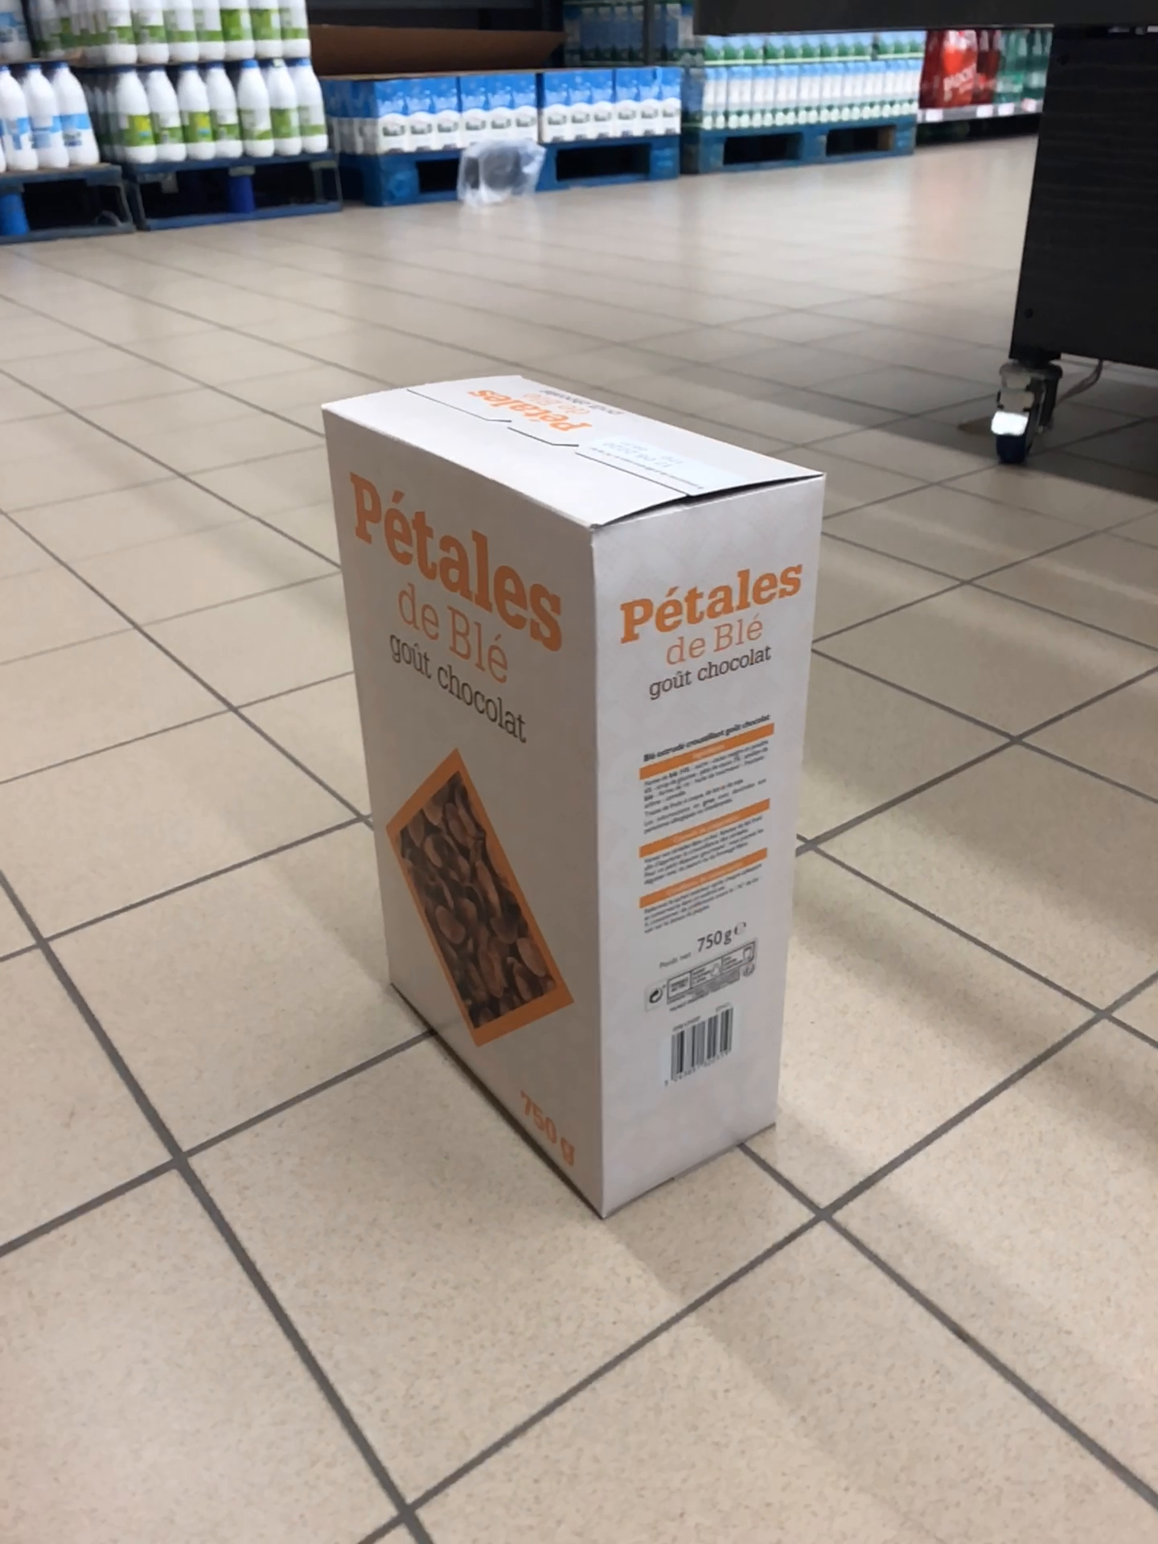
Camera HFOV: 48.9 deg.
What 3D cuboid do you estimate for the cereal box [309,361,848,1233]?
[{"bbox_3d":[-0.006,0.002,0.521,0.100,0.288,0.190,-20,33,-30],"label":"cereal box"}]
